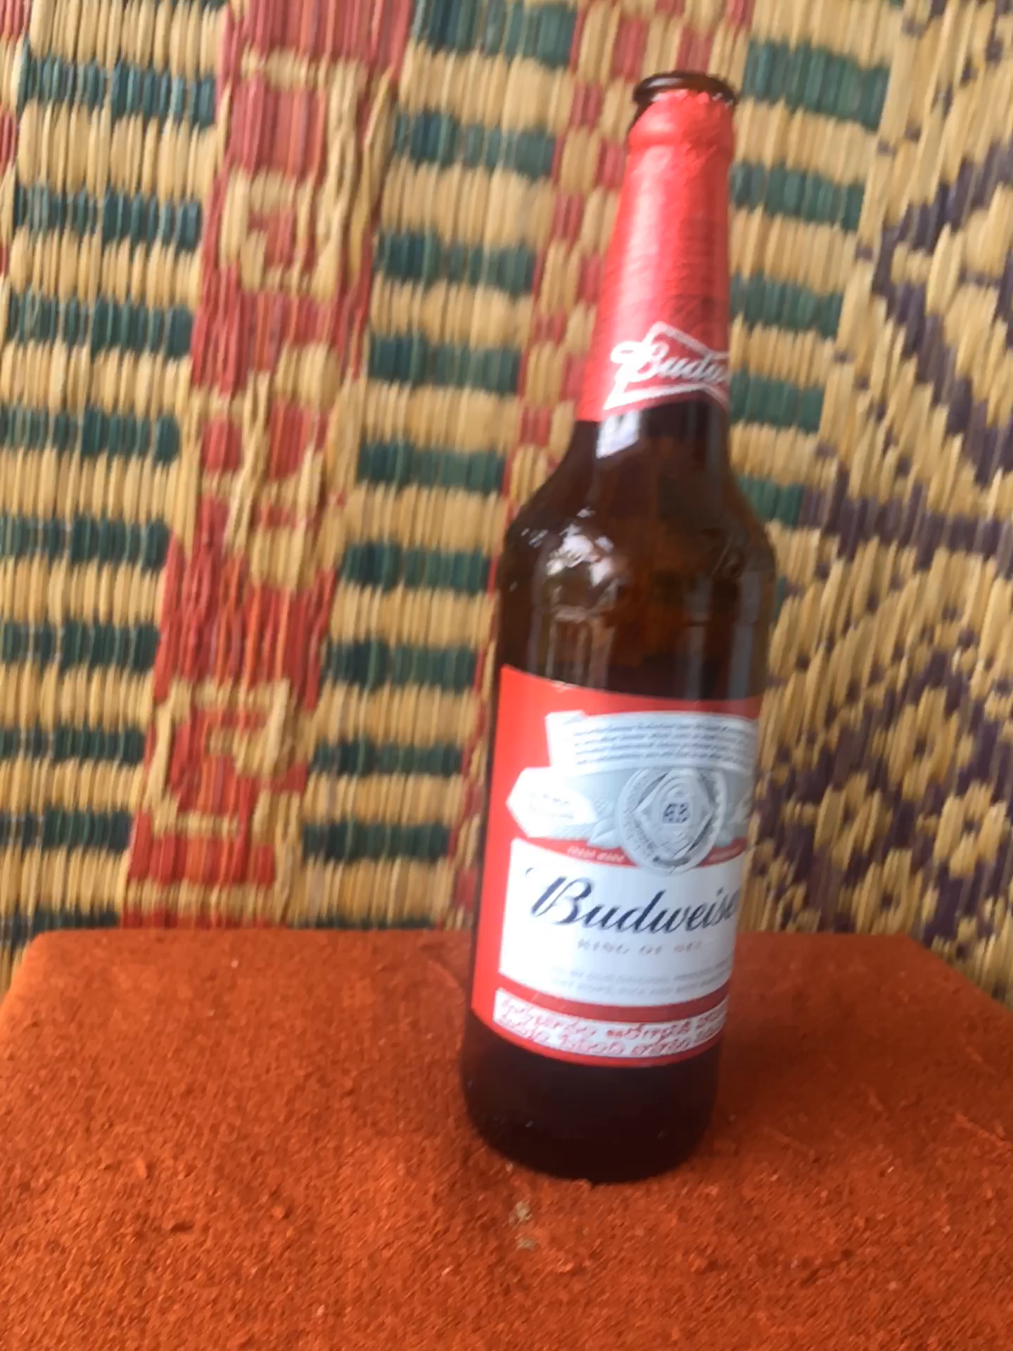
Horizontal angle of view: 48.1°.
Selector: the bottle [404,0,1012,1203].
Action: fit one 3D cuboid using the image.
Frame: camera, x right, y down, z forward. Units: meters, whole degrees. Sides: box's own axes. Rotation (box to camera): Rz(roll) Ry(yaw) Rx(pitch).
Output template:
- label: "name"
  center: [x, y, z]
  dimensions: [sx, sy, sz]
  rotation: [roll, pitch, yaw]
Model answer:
- label: "bottle"
  center: [0.037, -0.012, 0.278]
  dimensions: [0.090, 0.259, 0.070]
  rotation: [4, 12, -15]
